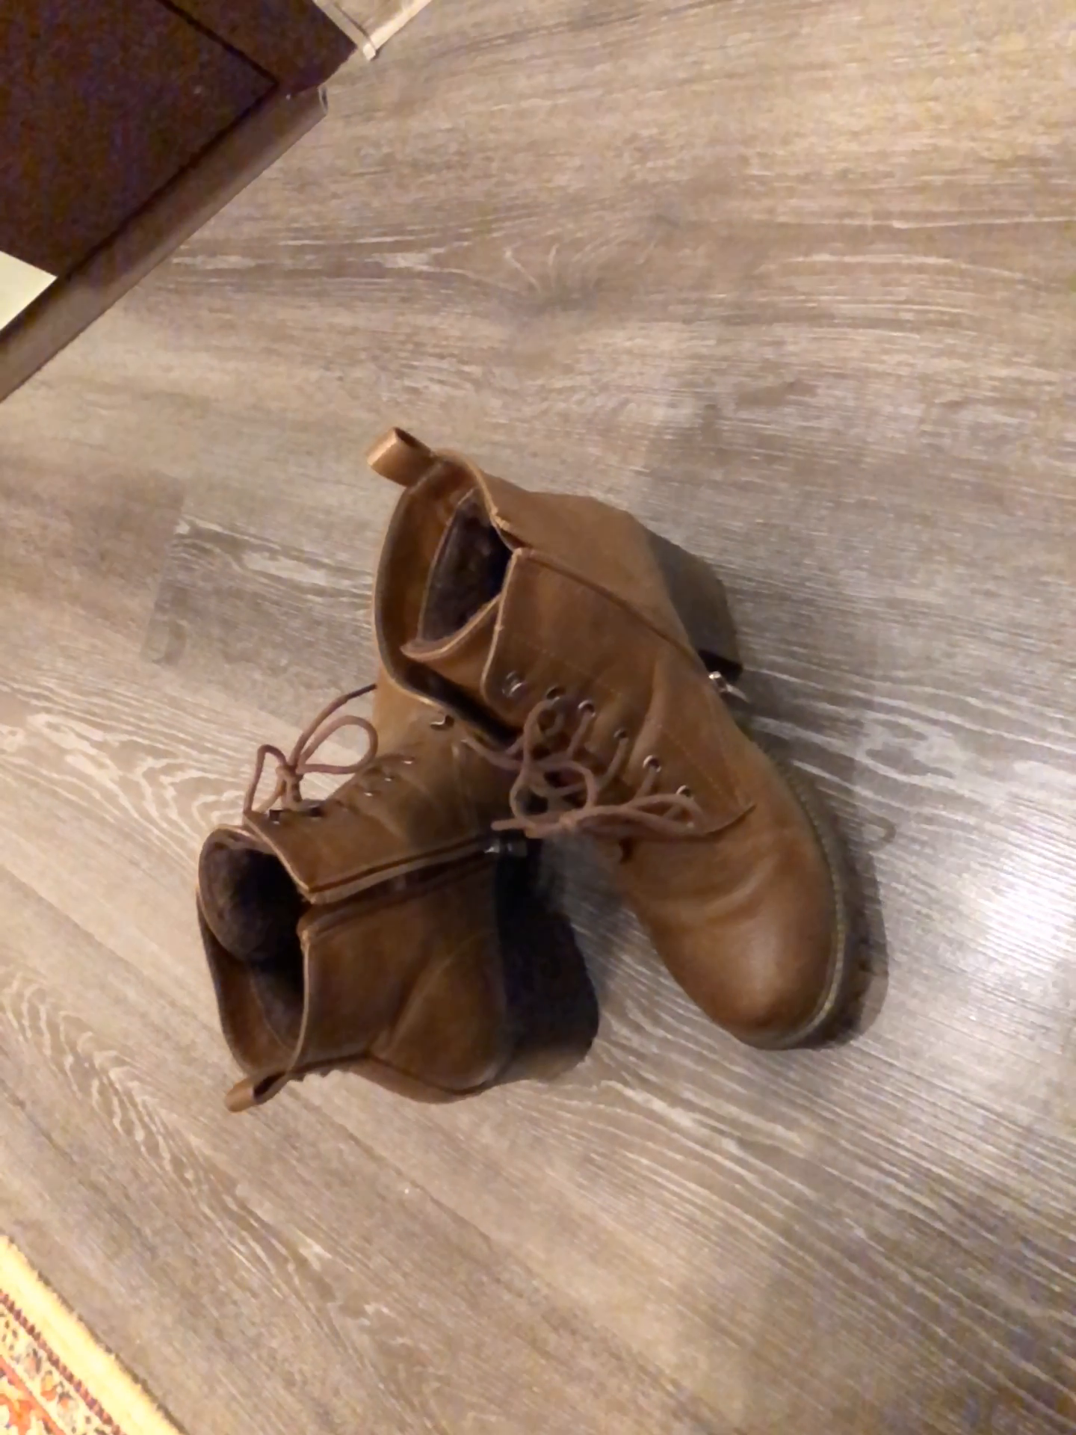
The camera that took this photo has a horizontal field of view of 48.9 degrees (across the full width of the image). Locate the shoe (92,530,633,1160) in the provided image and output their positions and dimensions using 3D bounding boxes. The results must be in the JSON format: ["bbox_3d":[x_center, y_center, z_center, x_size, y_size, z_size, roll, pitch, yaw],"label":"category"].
[{"bbox_3d":[-0.078,0.057,0.520,0.100,0.169,0.221,-32,62,30],"label":"shoe"}]

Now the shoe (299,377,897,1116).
[{"bbox_3d":[0.025,0.020,0.450,0.090,0.189,0.220,-25,66,33],"label":"shoe"}]
